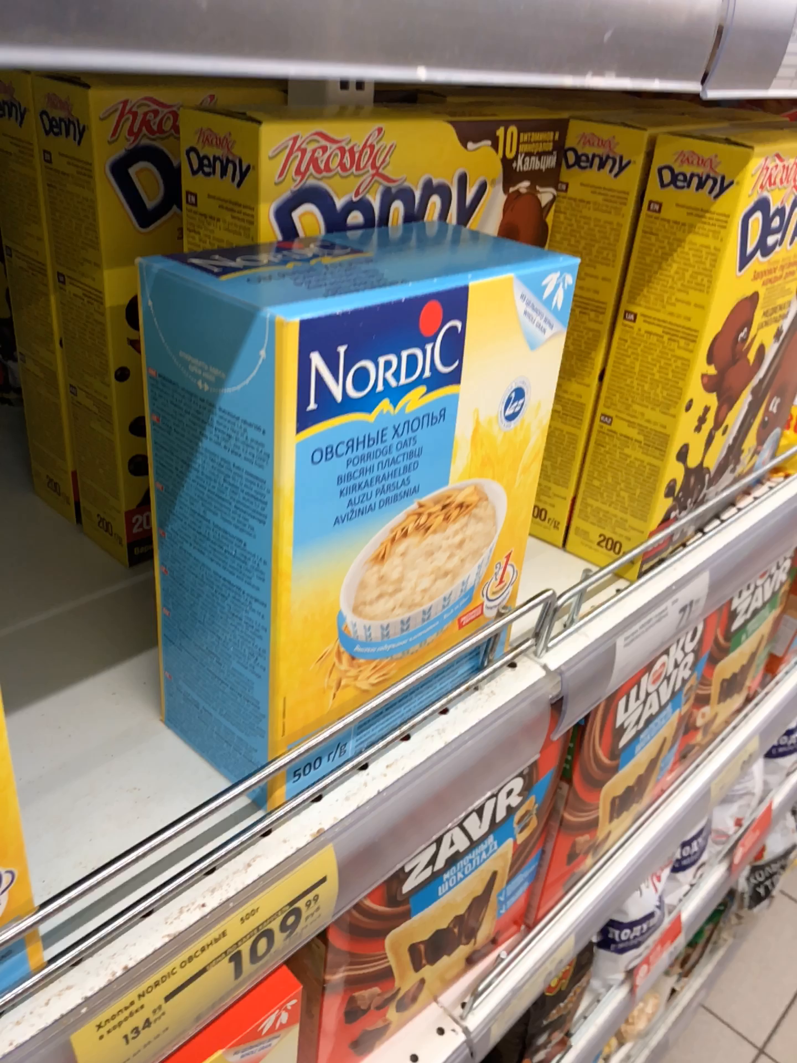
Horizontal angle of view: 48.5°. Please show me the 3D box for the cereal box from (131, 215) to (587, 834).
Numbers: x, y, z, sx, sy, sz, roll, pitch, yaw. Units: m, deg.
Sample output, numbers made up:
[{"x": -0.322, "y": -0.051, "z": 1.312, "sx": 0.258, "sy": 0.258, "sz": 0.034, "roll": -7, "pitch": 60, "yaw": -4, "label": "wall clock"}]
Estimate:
[{"x": -0.015, "y": -0.010, "z": 0.353, "sx": 0.070, "sy": 0.199, "sz": 0.151, "roll": 29, "pitch": 37, "yaw": 34, "label": "cereal box"}]
